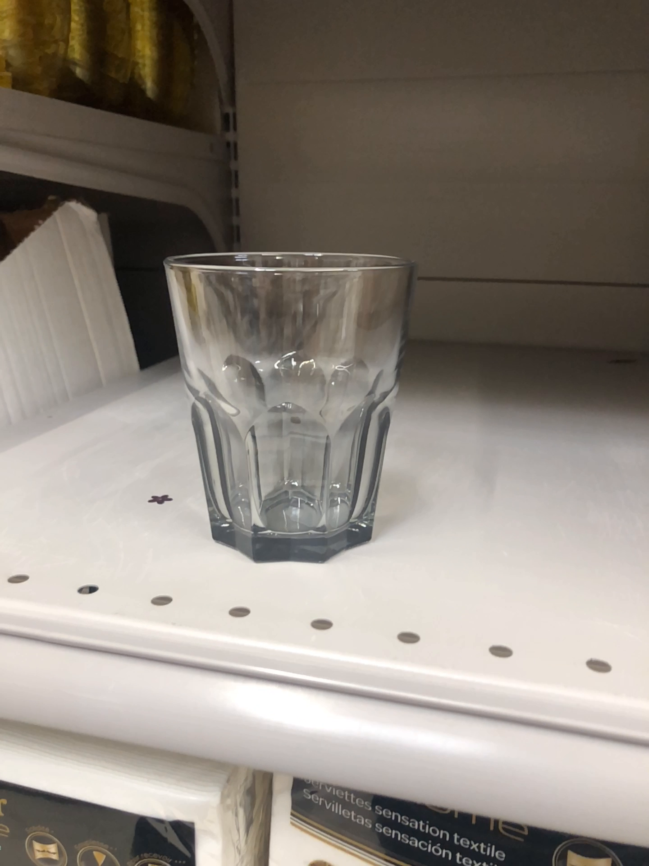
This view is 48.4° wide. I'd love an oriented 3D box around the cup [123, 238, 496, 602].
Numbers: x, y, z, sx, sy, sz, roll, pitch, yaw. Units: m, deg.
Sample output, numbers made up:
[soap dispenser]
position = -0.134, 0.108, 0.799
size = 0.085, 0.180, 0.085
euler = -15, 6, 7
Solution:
[cup]
position = -0.005, -0.015, 0.242
size = 0.085, 0.092, 0.083
euler = 1, 17, 0
